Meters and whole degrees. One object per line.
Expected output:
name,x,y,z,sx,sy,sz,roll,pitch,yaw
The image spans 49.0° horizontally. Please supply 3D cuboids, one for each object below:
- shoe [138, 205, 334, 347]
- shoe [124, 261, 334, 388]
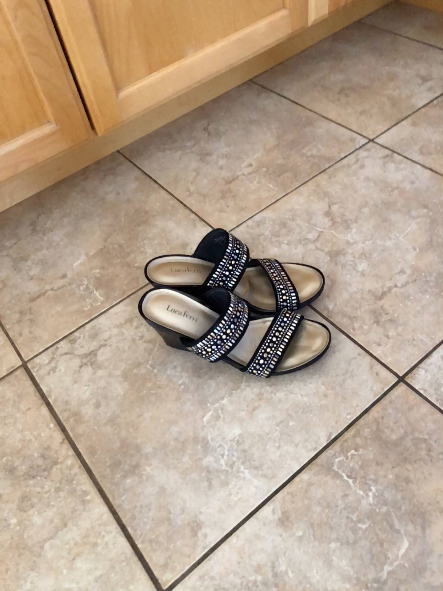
shoe,0.017,-0.023,0.612,0.220,0.100,0.110,-8,50,2
shoe,0.015,0.033,0.574,0.220,0.100,0.090,4,52,13
